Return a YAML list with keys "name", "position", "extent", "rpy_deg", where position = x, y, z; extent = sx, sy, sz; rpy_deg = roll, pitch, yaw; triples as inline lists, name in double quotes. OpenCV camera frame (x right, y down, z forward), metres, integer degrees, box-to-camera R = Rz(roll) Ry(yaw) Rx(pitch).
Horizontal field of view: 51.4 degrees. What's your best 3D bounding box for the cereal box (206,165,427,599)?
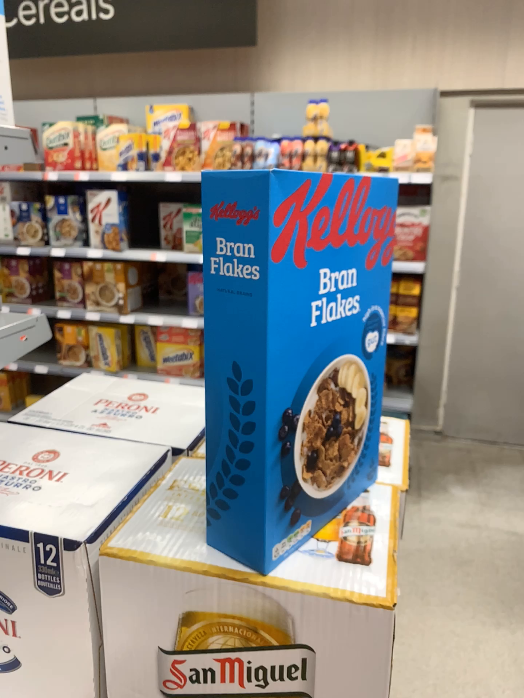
- name: "cereal box"
  position: [0.050, 0.008, 0.443]
  extent: [0.070, 0.288, 0.201]
  rpy_deg: [11, 18, 36]
